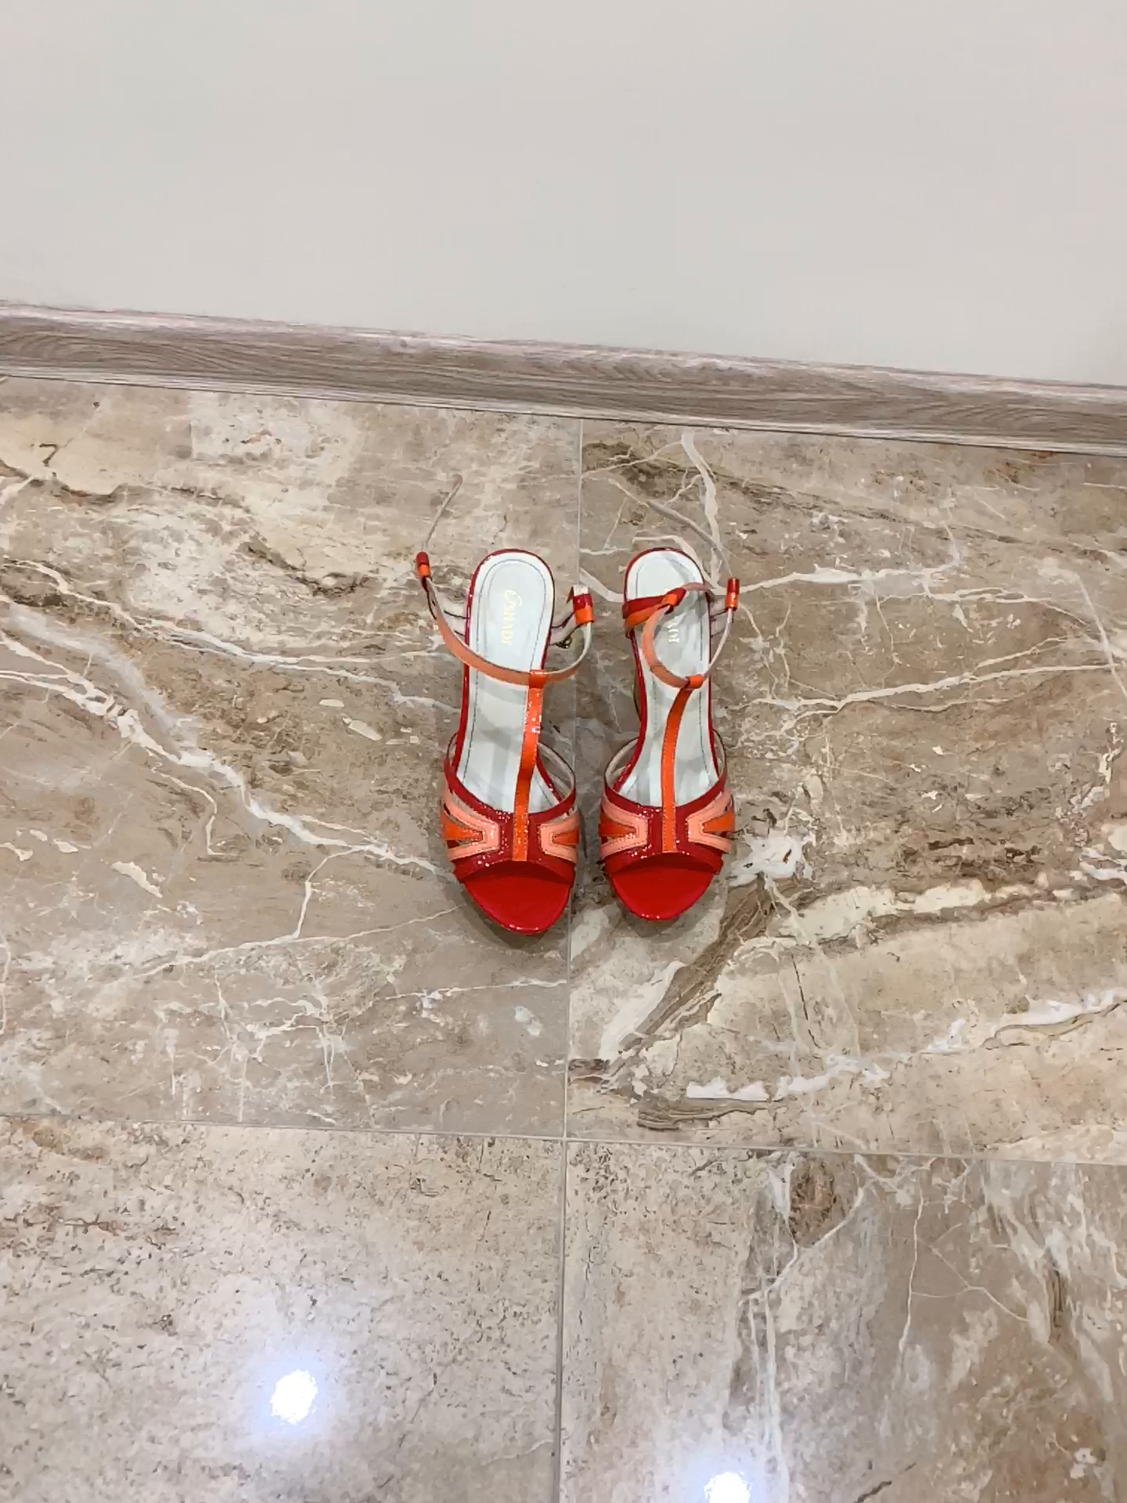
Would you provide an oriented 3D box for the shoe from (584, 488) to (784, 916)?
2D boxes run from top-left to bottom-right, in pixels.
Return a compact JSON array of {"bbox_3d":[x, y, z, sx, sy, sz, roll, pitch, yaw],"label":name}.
[{"bbox_3d":[0.062,-0.030,0.685,0.080,0.130,0.218,1,58,-4],"label":"shoe"}]

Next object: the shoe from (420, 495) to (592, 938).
[{"bbox_3d":[-0.036,-0.020,0.676,0.083,0.139,0.218,1,58,-4],"label":"shoe"}]
